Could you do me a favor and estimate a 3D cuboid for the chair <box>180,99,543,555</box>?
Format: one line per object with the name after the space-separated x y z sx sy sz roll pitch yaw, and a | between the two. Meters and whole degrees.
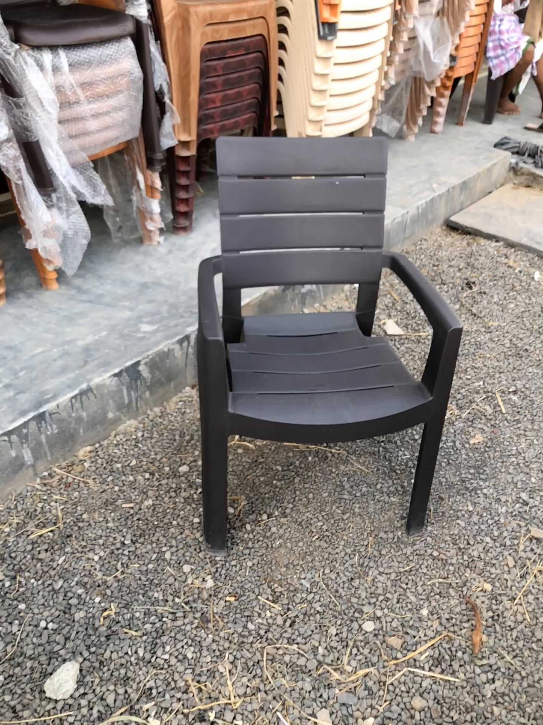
0.104 -0.110 1.407 0.570 0.796 0.683 -4 37 -7 | chair
